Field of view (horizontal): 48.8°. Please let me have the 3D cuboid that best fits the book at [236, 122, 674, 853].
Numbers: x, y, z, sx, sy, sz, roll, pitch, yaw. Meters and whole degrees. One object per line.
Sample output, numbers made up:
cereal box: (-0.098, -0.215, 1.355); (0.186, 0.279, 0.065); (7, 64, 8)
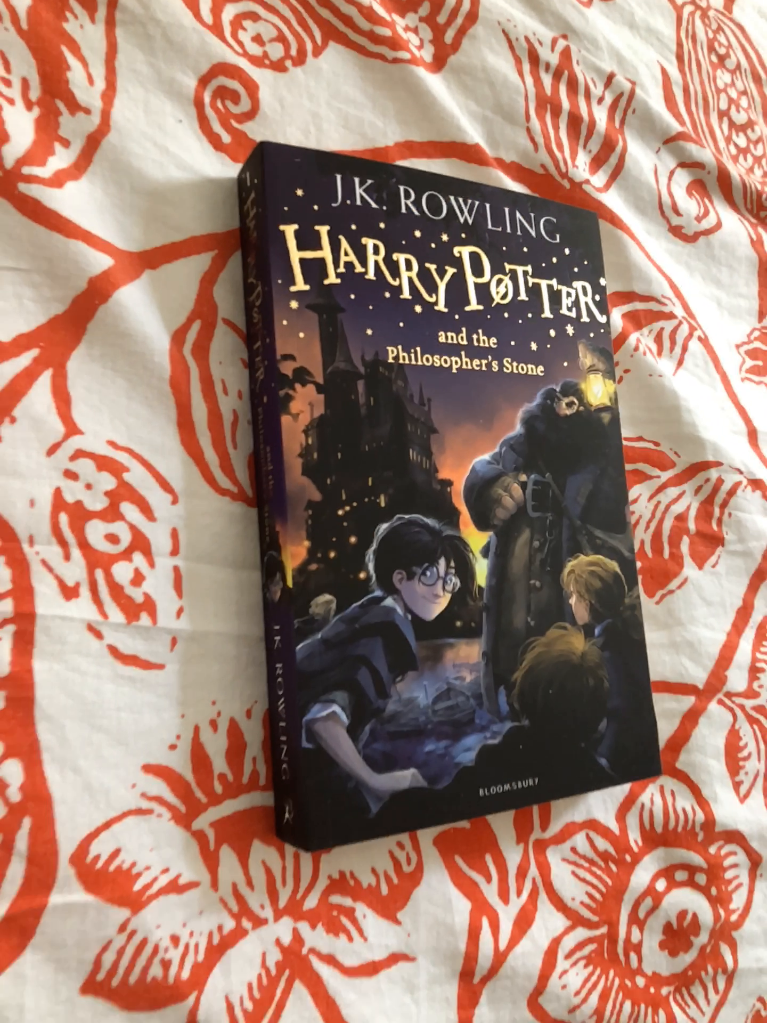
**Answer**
book: (0.025, -0.010, 0.256); (0.127, 0.020, 0.189); (-1, 83, -29)
